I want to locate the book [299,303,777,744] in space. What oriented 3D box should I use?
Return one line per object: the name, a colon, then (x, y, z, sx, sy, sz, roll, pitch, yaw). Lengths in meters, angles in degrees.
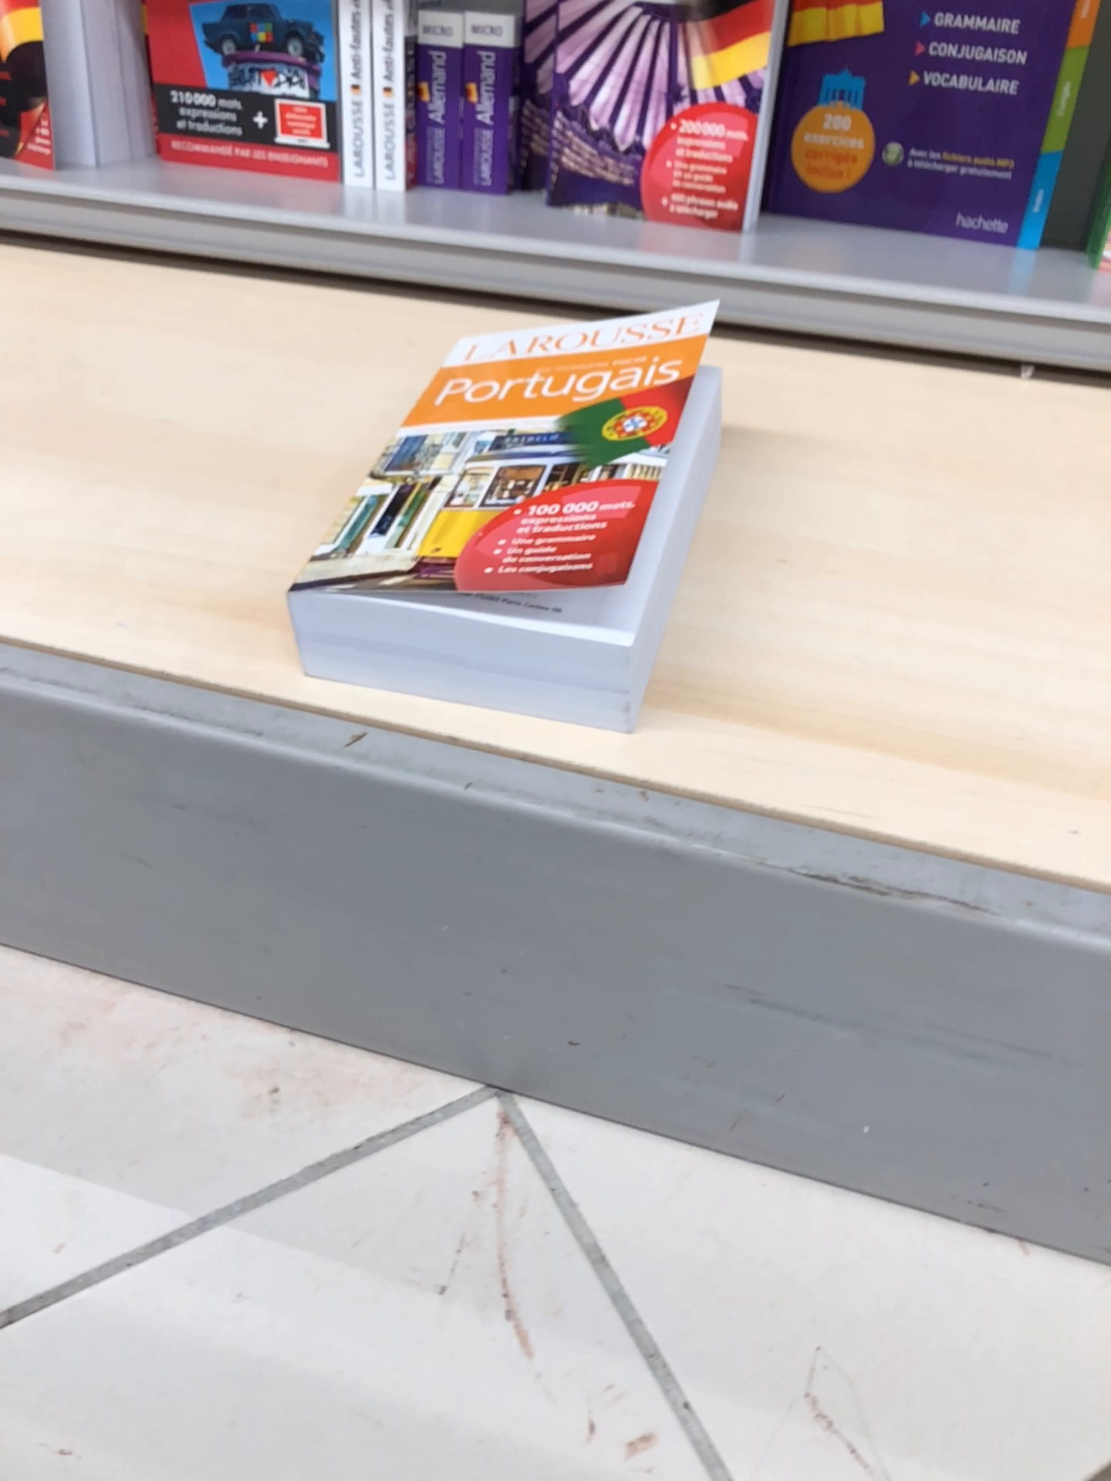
book: (0.005, -0.086, 0.425, 0.117, 0.046, 0.186, 10, 43, 9)
